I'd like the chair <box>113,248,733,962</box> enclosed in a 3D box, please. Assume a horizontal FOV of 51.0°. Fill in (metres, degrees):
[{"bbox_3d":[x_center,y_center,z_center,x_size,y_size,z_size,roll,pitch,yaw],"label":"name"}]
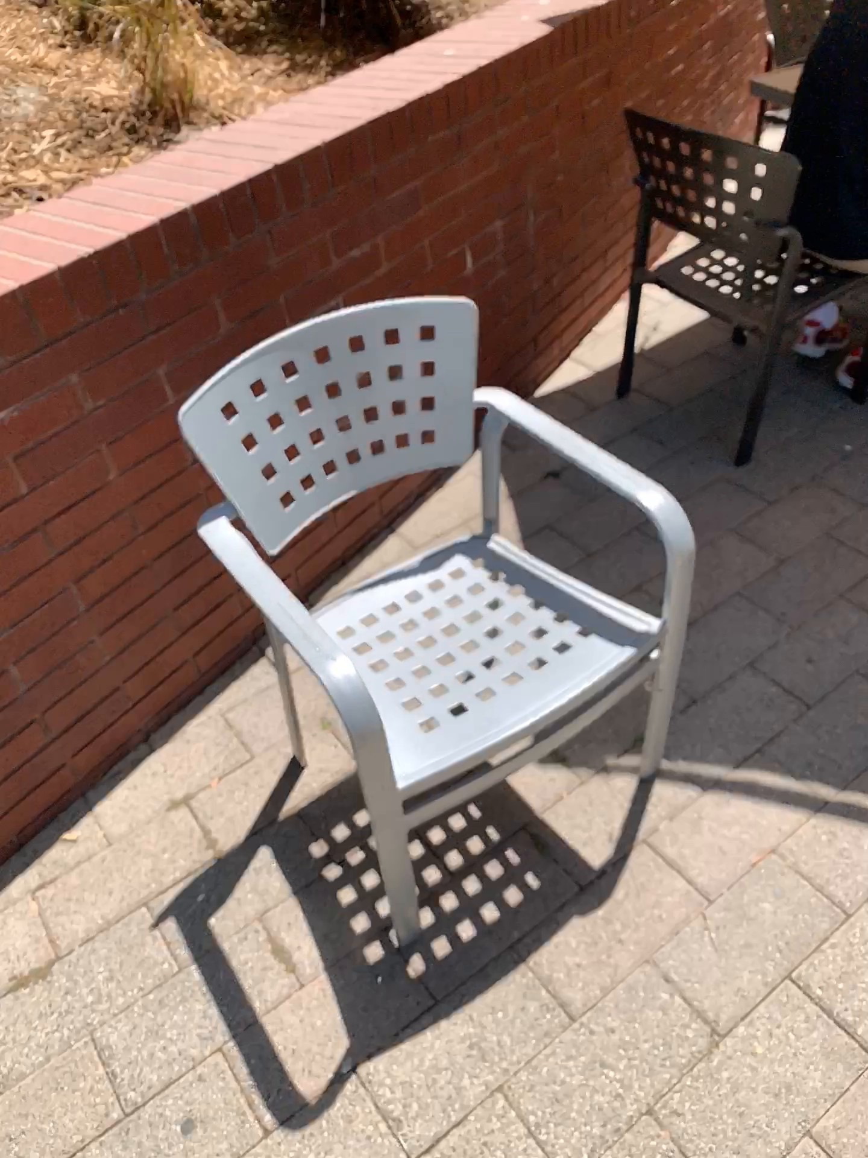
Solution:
[{"bbox_3d":[0.006,0.025,1.317,0.558,0.718,0.493,-29,45,-23],"label":"chair"}]
